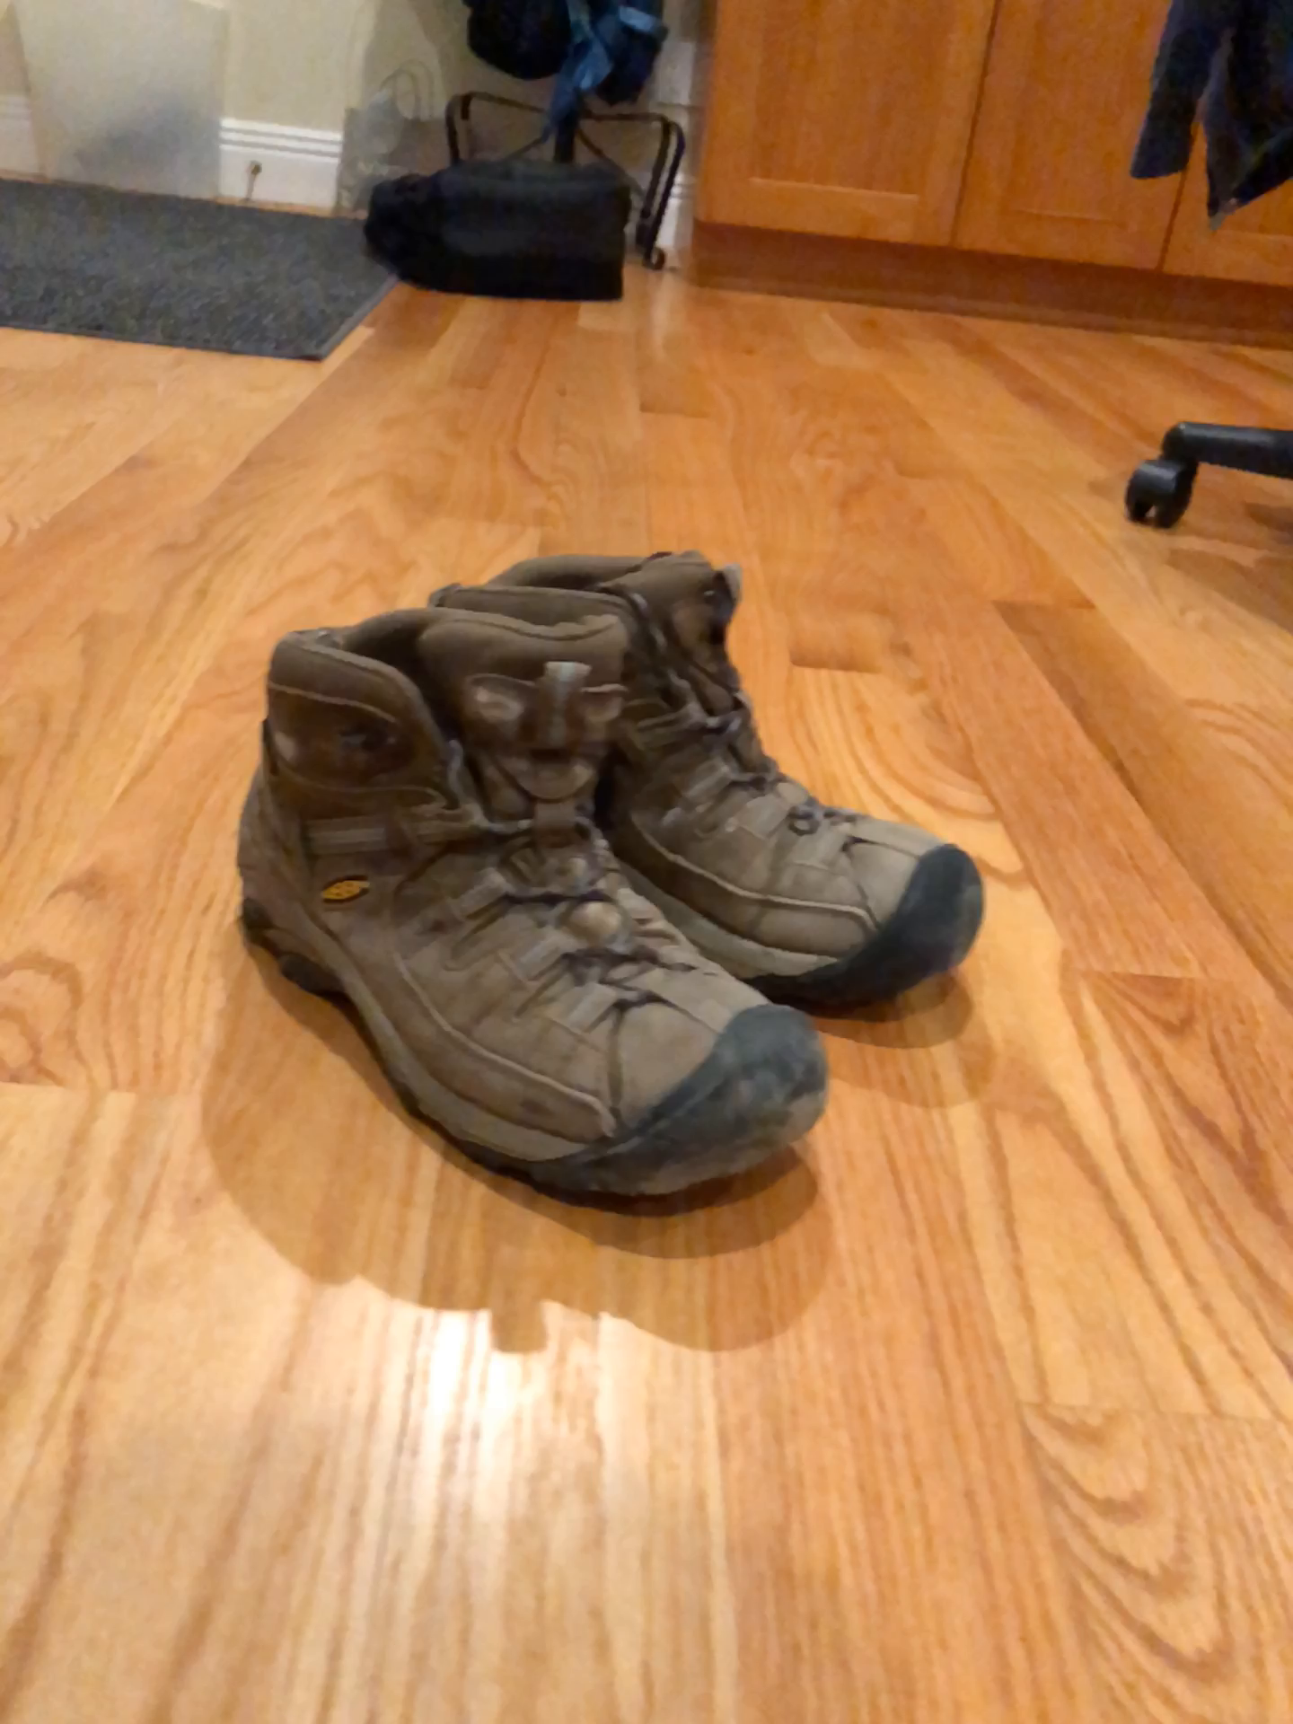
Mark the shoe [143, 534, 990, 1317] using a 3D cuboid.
[{"bbox_3d":[-0.042,0.000,0.470,0.260,0.139,0.108,27,33,33],"label":"shoe"}]

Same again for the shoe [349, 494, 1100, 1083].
[{"bbox_3d":[0.022,-0.041,0.562,0.259,0.139,0.108,18,29,20],"label":"shoe"}]
